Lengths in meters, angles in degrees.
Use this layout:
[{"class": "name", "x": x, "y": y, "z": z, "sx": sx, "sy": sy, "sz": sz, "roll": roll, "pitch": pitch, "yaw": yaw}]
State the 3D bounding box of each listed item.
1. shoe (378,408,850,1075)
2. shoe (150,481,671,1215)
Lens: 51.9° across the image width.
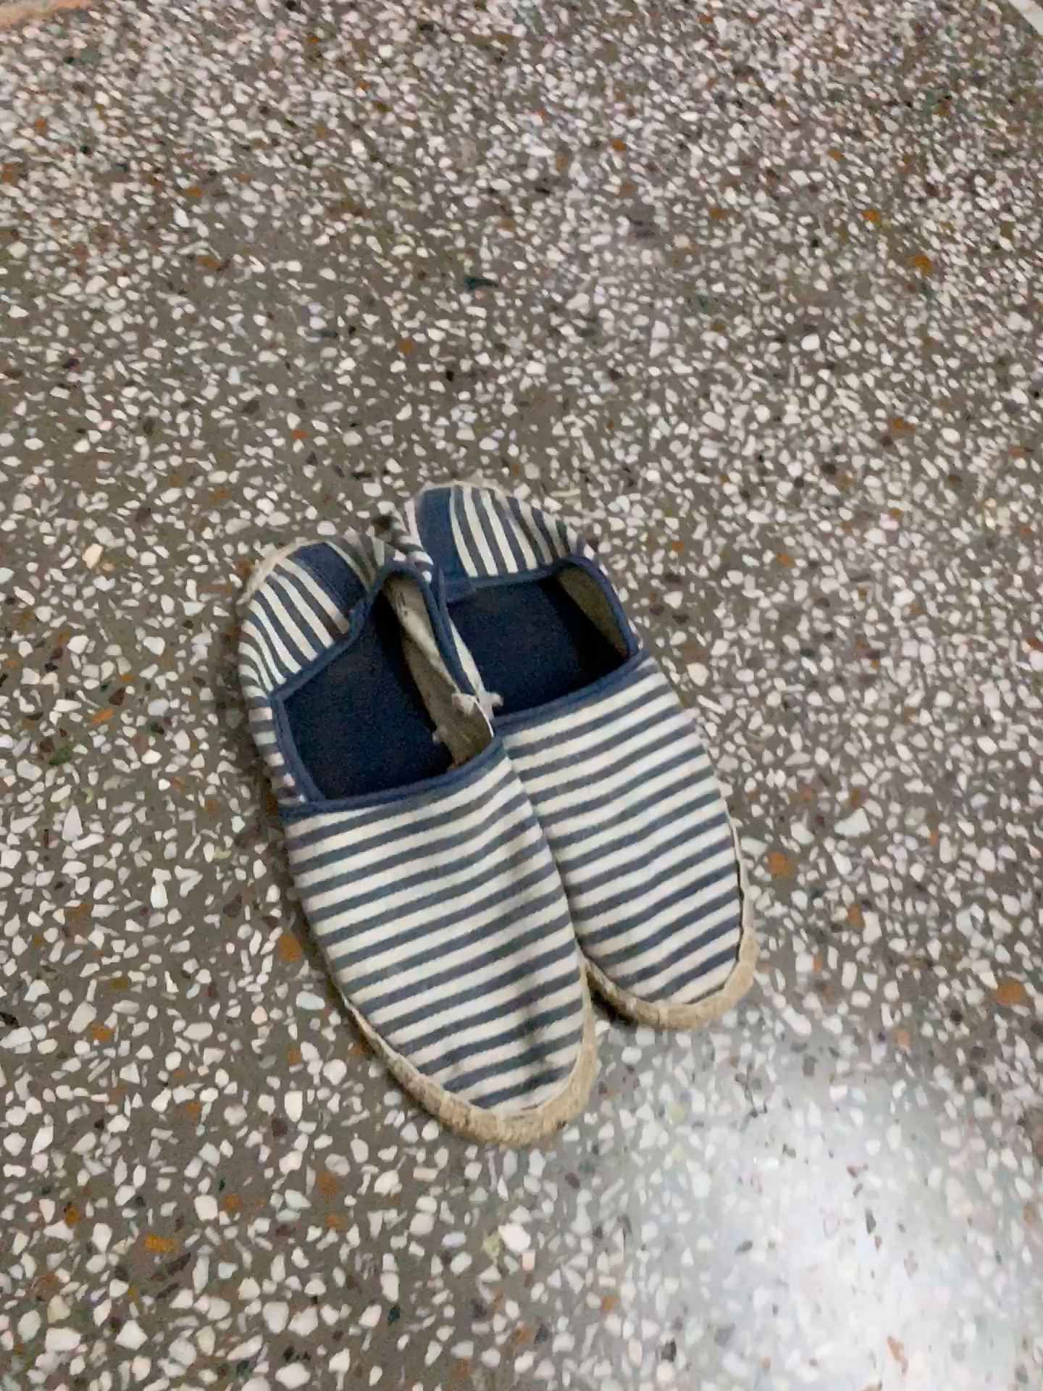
[{"class": "shoe", "x": 0.030, "y": 0.010, "z": 0.491, "sx": 0.100, "sy": 0.050, "sz": 0.290, "roll": -19, "pitch": 71, "yaw": -13}, {"class": "shoe", "x": -0.055, "y": 0.052, "z": 0.459, "sx": 0.100, "sy": 0.050, "sz": 0.290, "roll": -23, "pitch": 72, "yaw": -15}]
